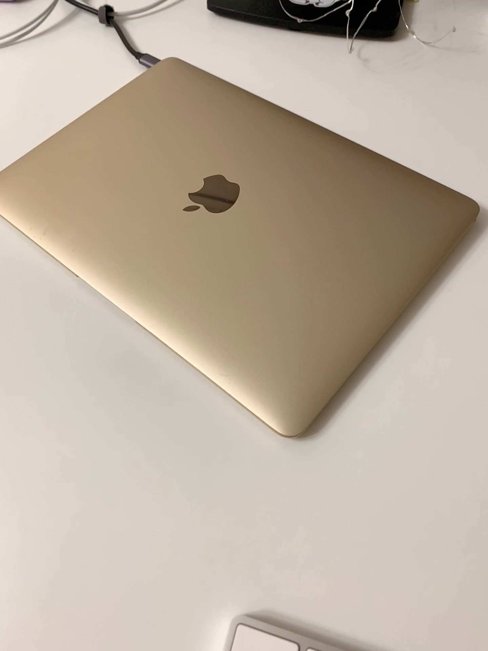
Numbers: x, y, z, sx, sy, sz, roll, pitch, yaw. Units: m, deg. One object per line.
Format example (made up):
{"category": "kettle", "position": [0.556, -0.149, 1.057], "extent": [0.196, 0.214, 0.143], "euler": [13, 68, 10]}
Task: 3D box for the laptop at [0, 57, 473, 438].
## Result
{"category": "laptop", "position": [-0.016, -0.076, 0.322], "extent": [0.256, 0.013, 0.173], "euler": [35, 69, 21]}
